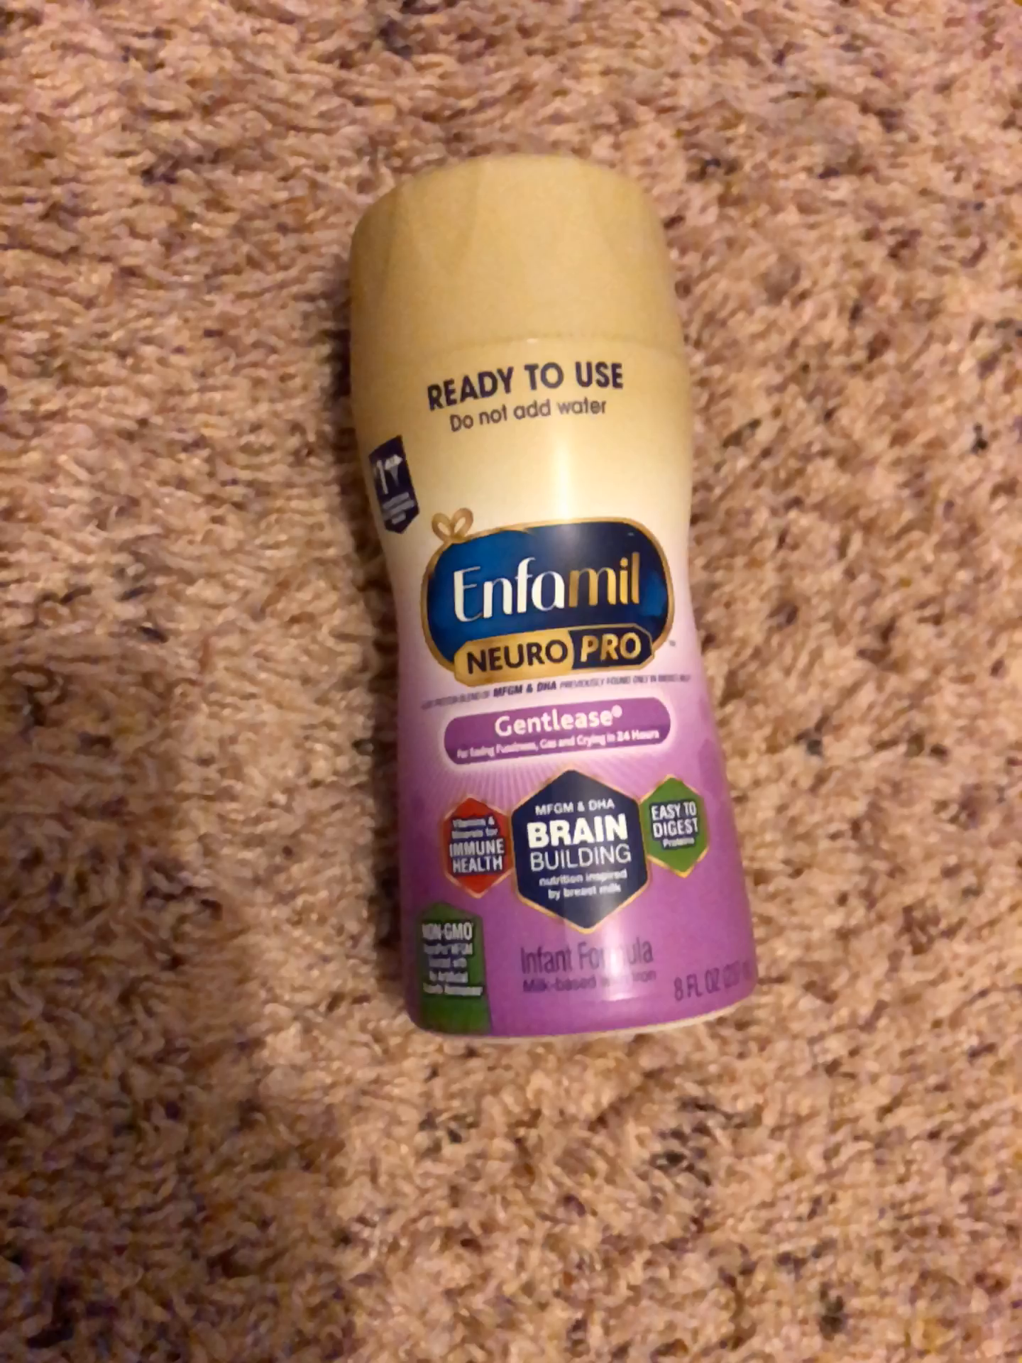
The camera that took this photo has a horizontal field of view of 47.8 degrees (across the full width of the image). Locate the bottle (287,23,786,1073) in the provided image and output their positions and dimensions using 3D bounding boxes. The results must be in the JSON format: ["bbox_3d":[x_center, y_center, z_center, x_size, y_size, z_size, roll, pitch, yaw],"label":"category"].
[{"bbox_3d":[0.008,-0.017,0.200,0.060,0.060,0.150,-6,86,15],"label":"bottle"}]
